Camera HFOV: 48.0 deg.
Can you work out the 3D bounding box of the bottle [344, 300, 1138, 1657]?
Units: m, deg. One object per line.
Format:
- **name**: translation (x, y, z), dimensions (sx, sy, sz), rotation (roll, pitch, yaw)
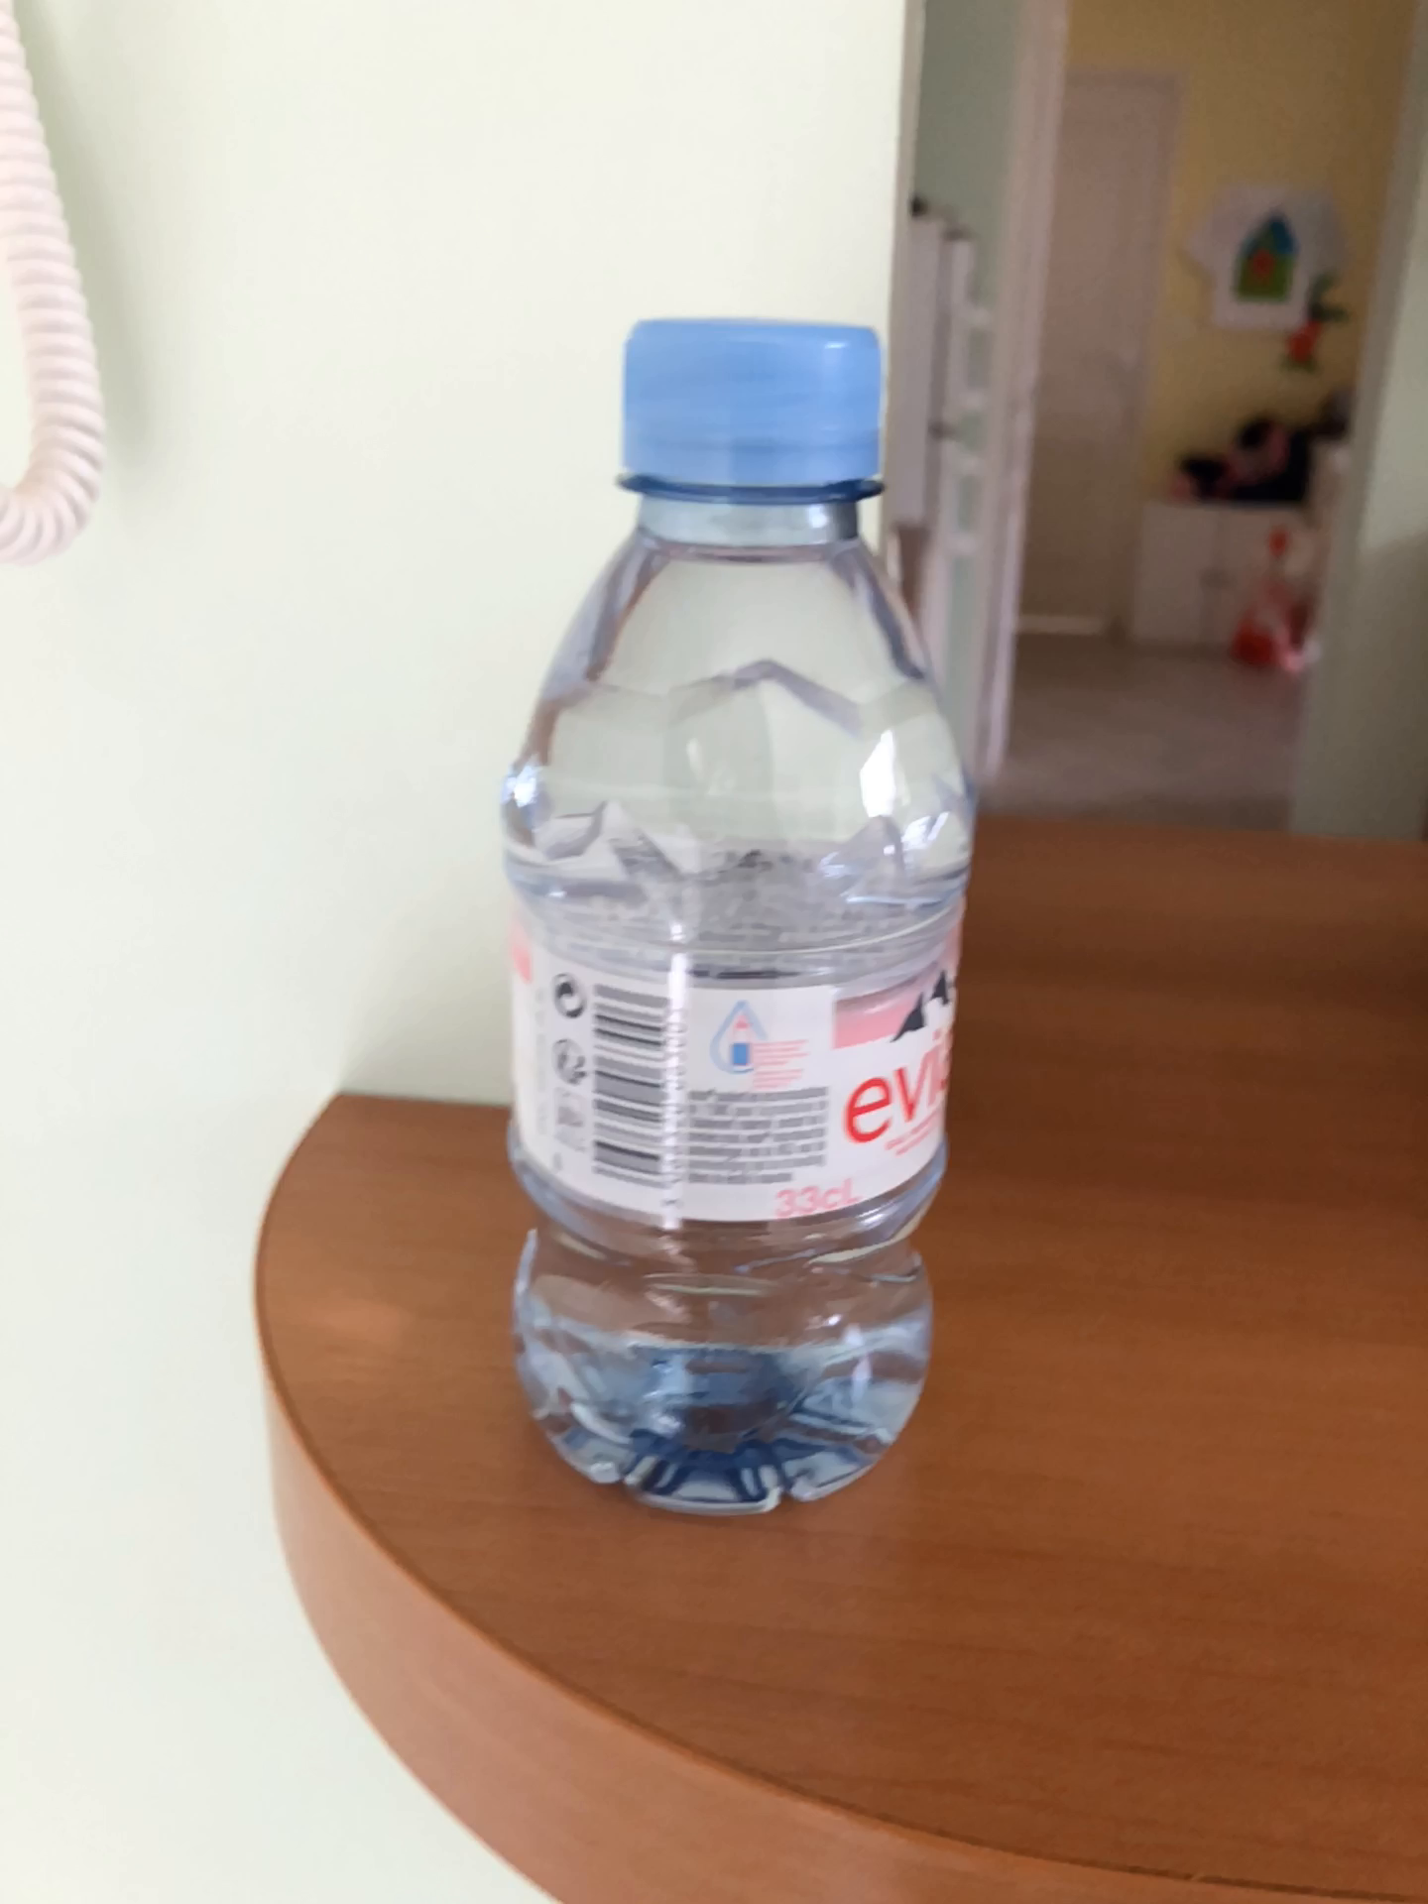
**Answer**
- **bottle**: translation (0.005, -0.002, 0.220), dimensions (0.070, 0.159, 0.070), rotation (1, 21, -1)
